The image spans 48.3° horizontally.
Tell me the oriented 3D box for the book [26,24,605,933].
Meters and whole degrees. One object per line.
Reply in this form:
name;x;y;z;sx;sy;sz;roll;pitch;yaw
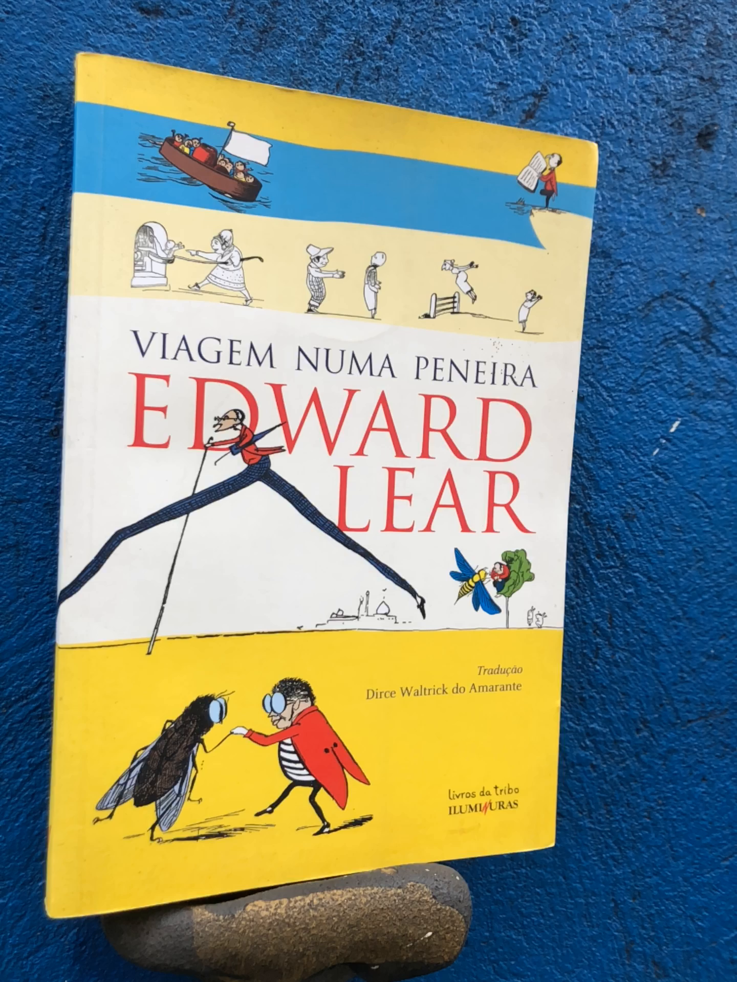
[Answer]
book;-0.010;0.000;0.238;0.158;0.220;0.021;2;2;-22
